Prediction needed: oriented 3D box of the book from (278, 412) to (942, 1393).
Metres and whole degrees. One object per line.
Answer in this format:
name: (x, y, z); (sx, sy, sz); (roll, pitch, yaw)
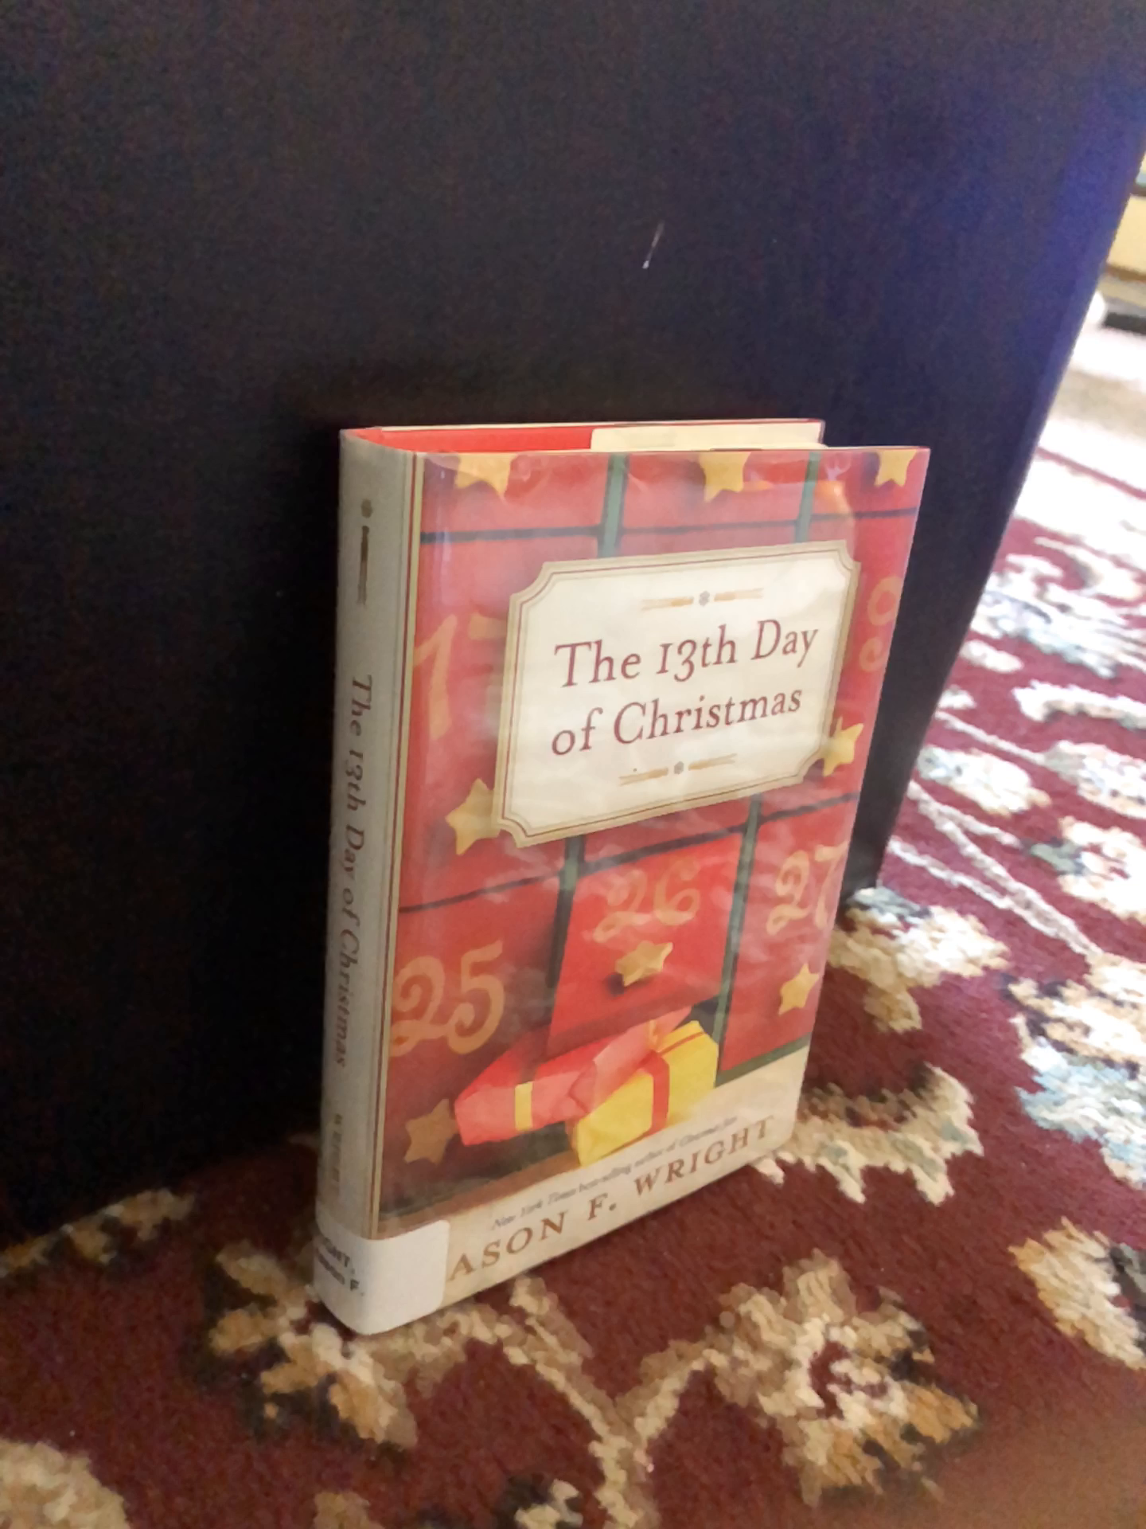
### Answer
book: (0.007, 0.022, 0.286); (0.138, 0.190, 0.040); (-13, 29, -40)
